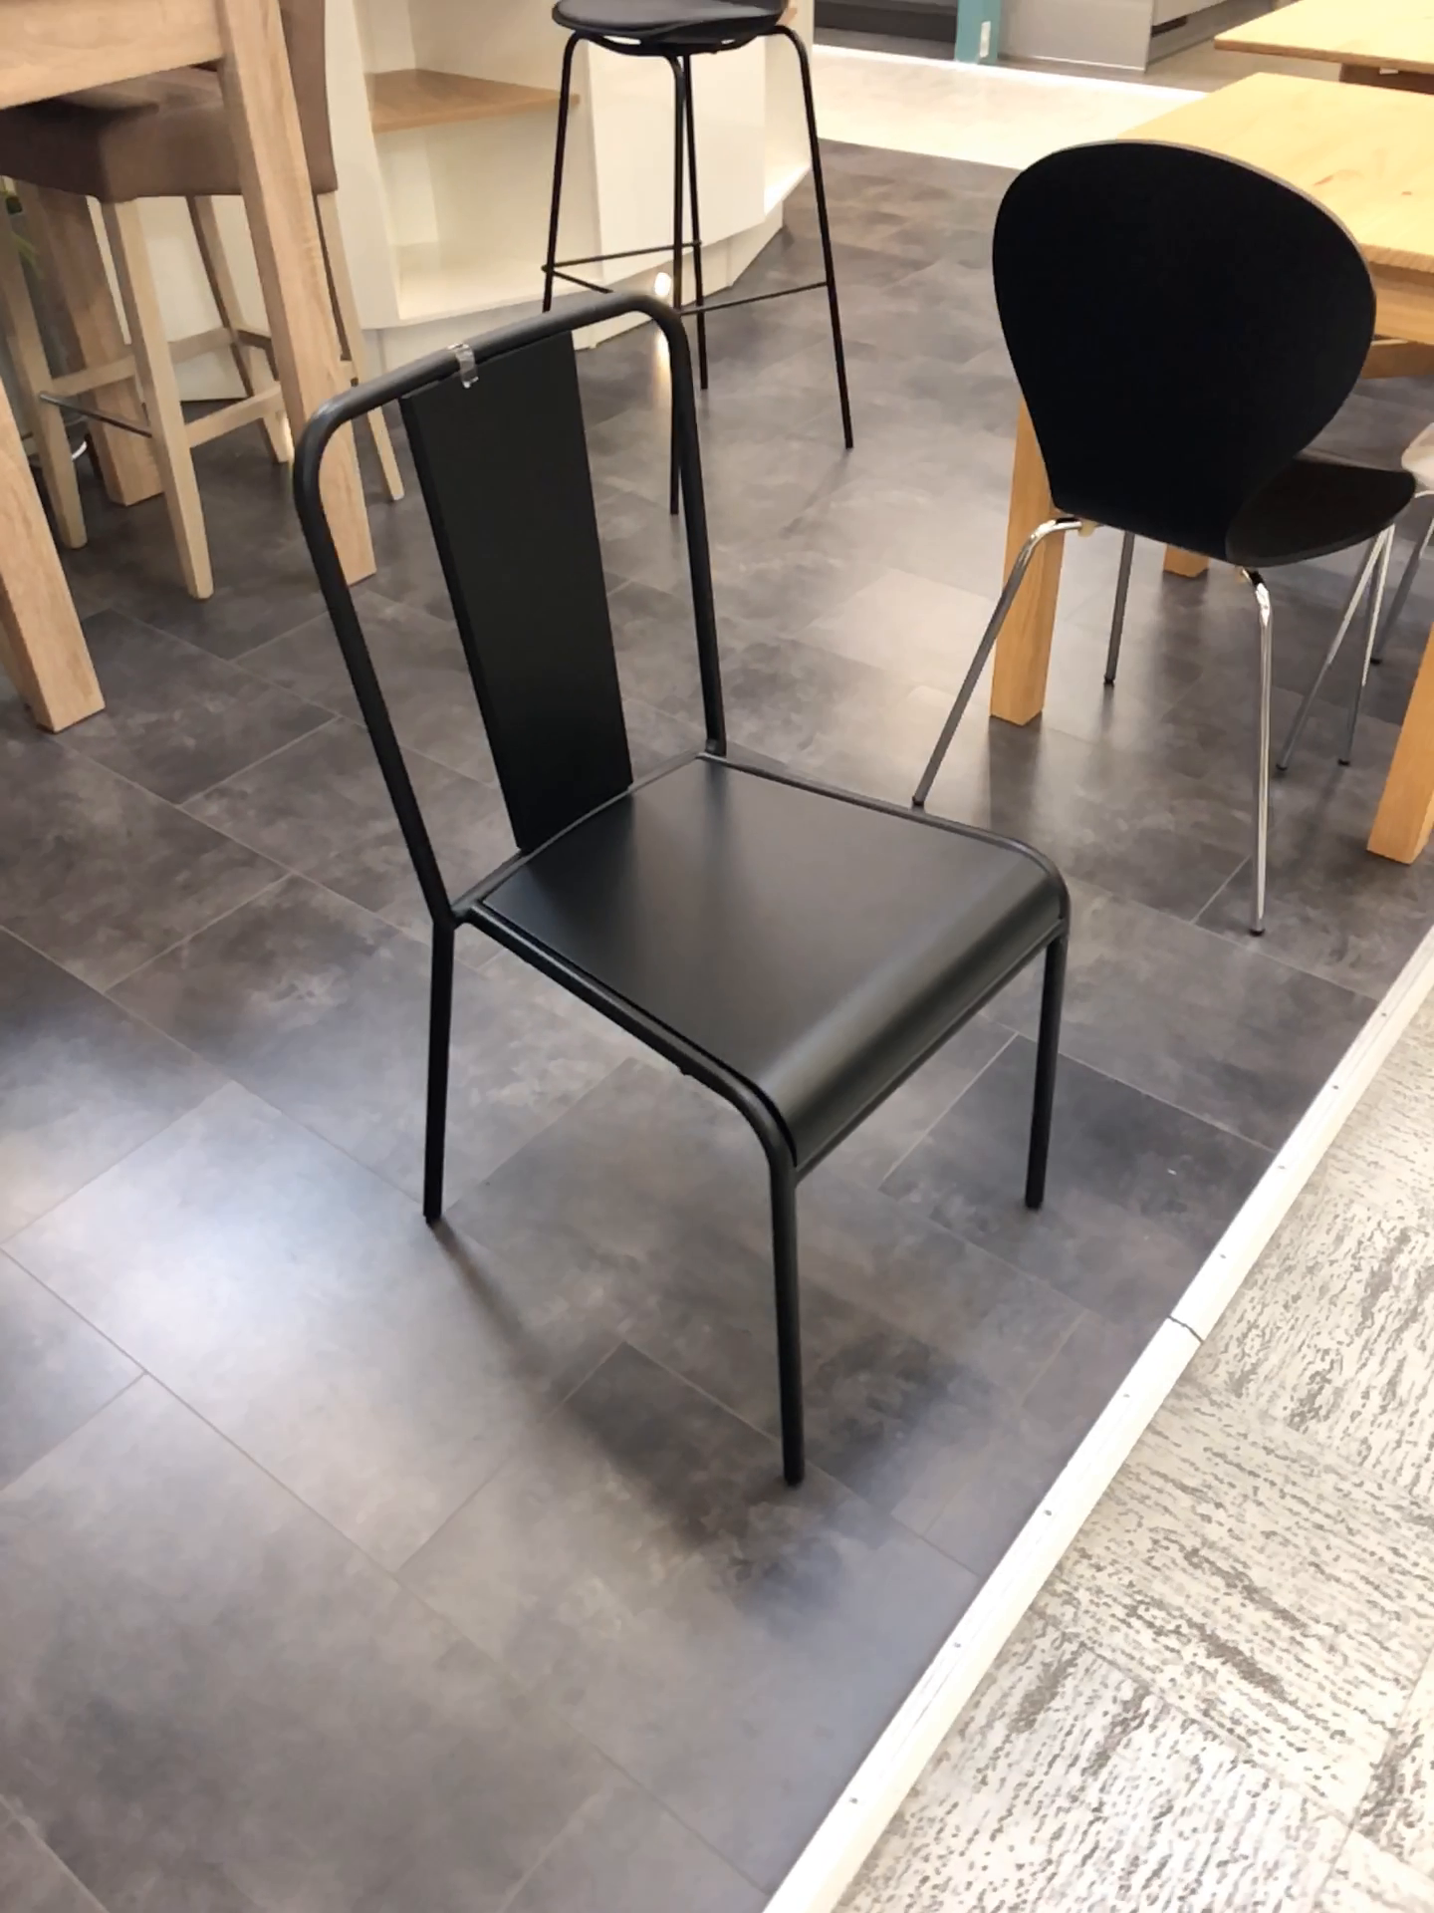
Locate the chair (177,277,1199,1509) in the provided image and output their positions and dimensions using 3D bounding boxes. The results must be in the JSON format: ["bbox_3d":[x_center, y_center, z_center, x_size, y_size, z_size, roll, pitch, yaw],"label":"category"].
[{"bbox_3d":[-0.013,-0.059,1.363,0.570,0.815,0.442,25,47,29],"label":"chair"}]
